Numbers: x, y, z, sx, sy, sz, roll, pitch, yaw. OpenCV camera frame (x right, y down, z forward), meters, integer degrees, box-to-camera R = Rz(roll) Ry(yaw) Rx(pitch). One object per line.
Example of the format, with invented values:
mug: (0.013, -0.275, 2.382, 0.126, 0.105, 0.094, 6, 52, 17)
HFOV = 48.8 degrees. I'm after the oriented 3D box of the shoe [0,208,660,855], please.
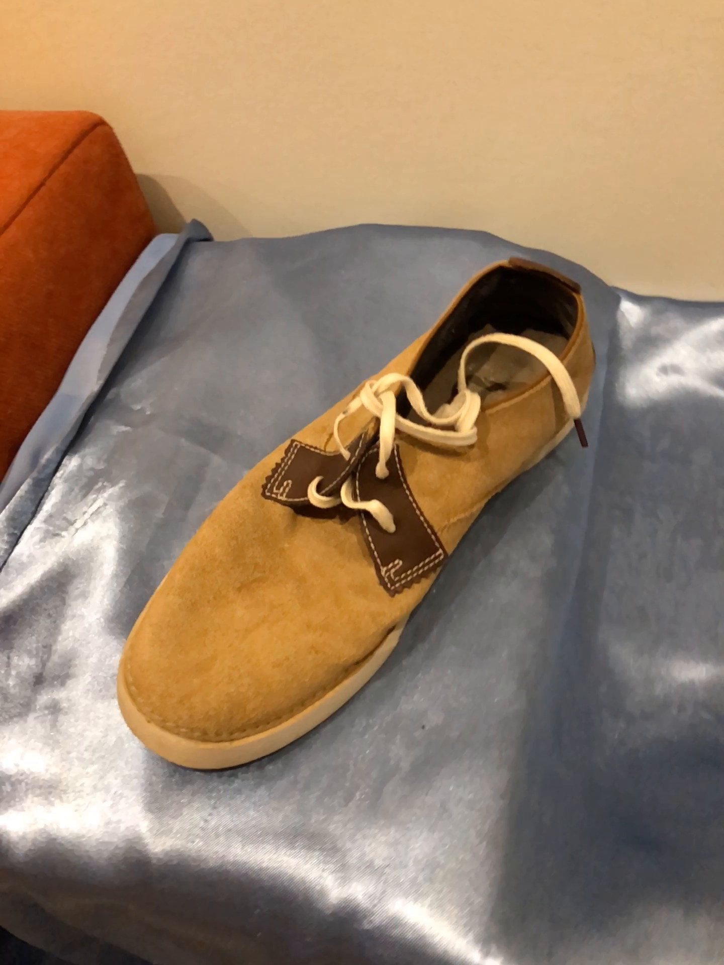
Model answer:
shoe: (0.001, 0.011, 0.401, 0.120, 0.119, 0.301, 36, 67, 29)
